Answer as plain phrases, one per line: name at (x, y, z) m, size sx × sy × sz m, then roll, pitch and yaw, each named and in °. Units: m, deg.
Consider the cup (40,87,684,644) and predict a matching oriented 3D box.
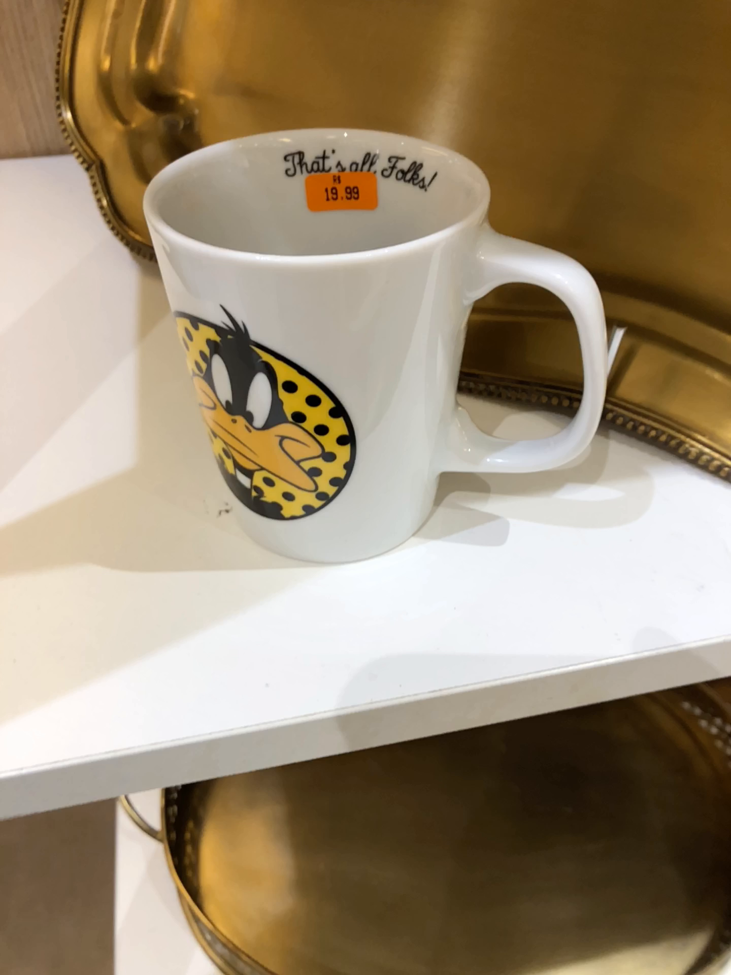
cup at (0.007, -0.036, 0.209) m, size 0.120 × 0.089 × 0.091 m, roll 11°, pitch 43°, yaw 12°
